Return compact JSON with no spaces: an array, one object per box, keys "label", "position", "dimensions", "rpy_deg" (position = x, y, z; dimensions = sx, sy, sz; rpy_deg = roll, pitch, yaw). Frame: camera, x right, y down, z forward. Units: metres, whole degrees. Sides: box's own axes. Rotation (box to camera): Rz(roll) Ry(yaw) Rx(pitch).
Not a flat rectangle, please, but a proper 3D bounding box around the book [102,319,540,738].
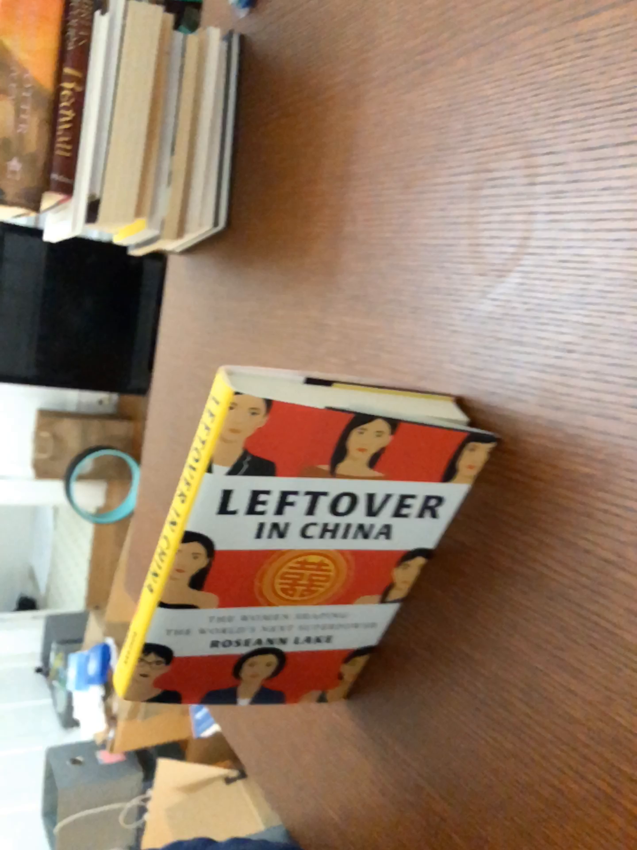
[{"label":"book","position":[-0.010,0.076,0.436],"dimensions":[0.060,0.179,0.260],"rpy_deg":[58,133,45]}]
